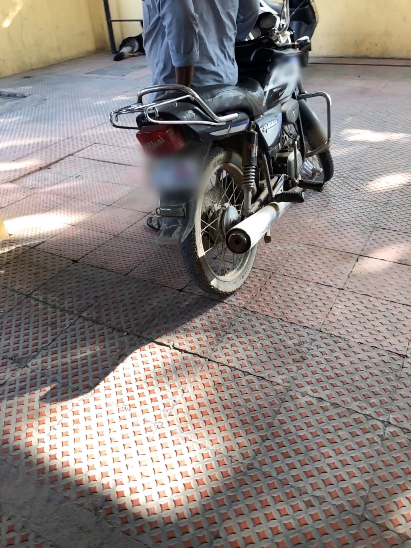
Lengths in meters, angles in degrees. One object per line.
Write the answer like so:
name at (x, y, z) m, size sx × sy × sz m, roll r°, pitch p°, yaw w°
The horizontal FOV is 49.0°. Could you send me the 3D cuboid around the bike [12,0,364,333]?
bike at (0.098, -0.668, 1.956) m, size 0.817 × 1.063 × 1.307 m, roll 11°, pitch 39°, yaw 21°
